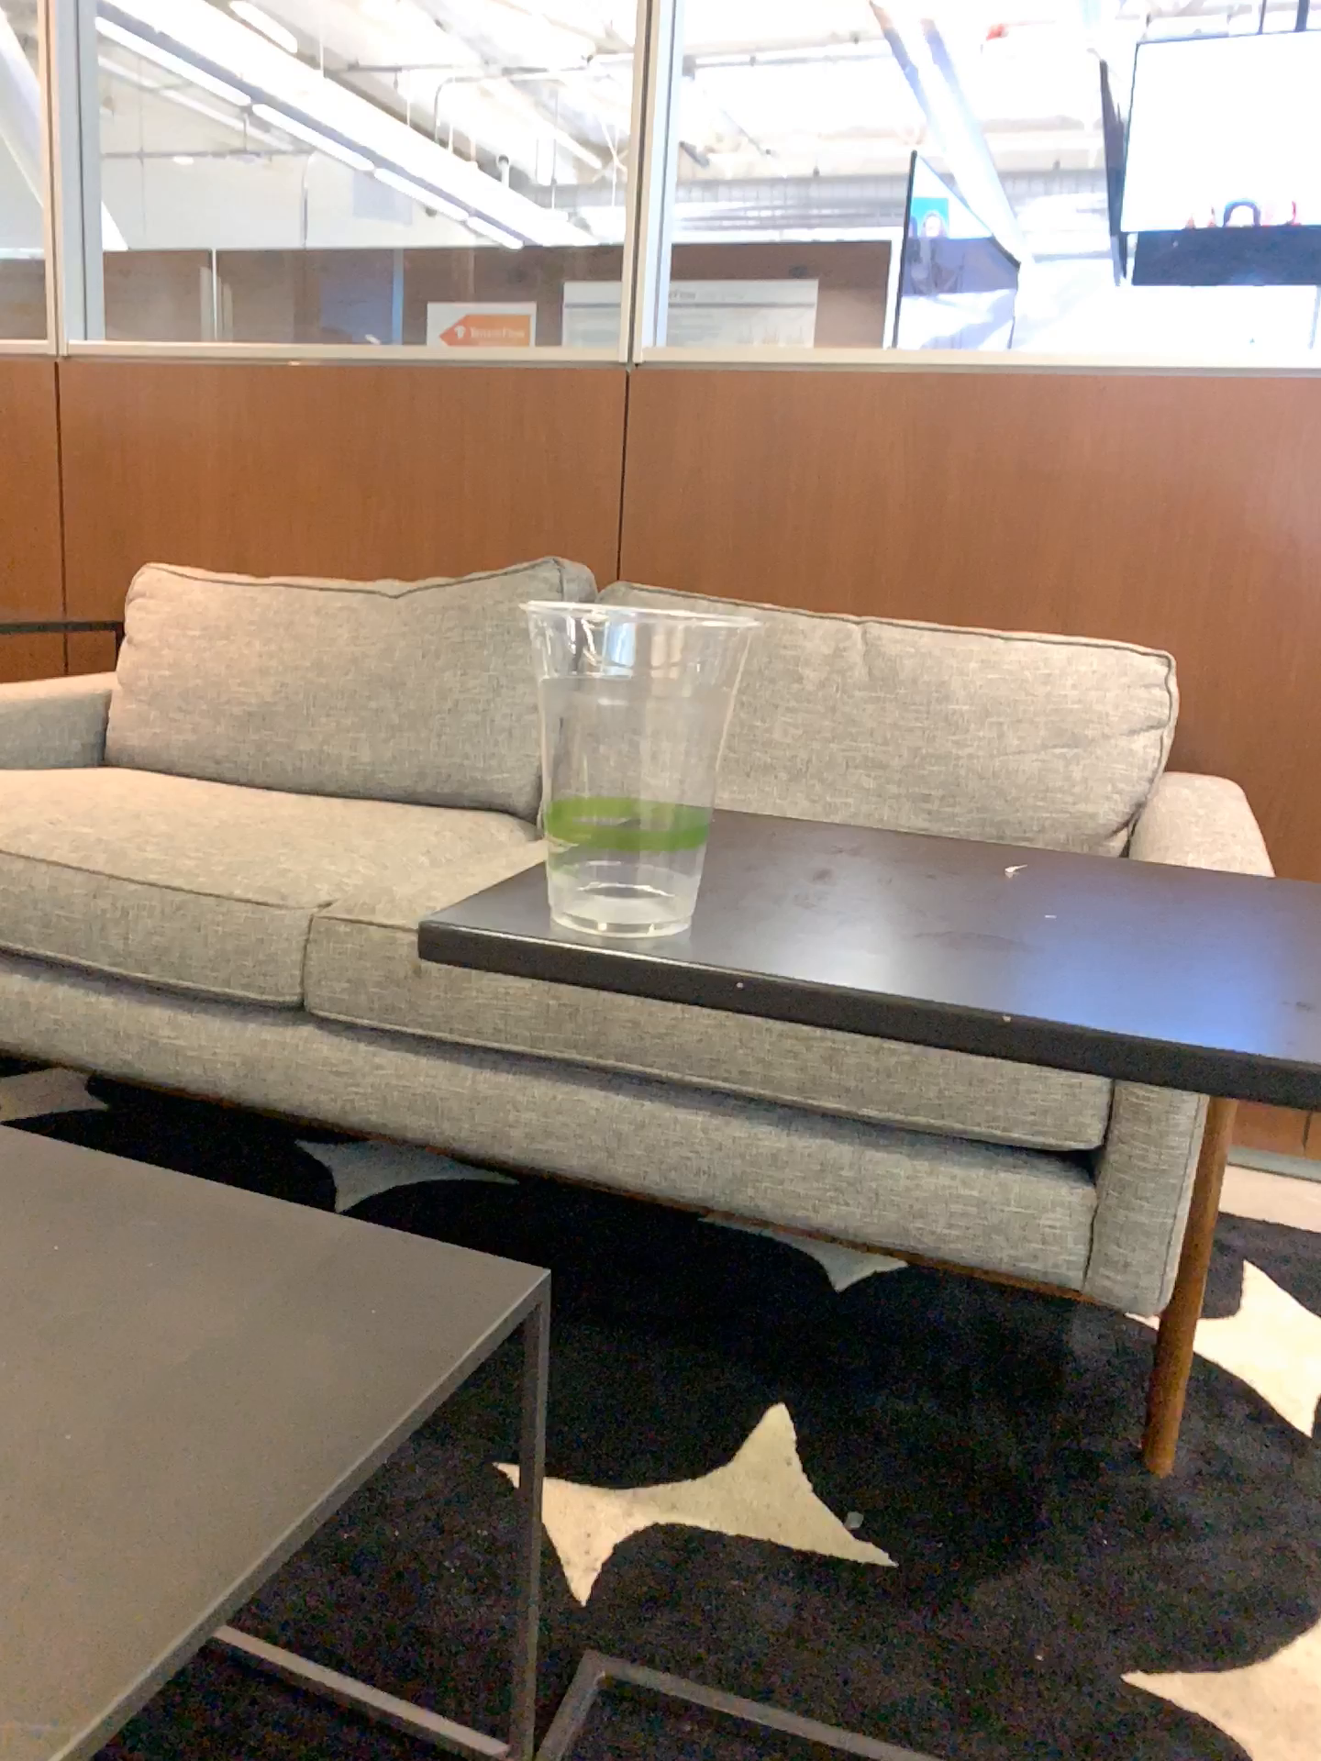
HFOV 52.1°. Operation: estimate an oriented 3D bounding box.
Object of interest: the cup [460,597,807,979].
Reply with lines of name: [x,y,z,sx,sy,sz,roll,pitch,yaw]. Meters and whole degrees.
cup: [-0.009,-0.044,0.543,0.100,0.130,0.100,4,13,-1]
